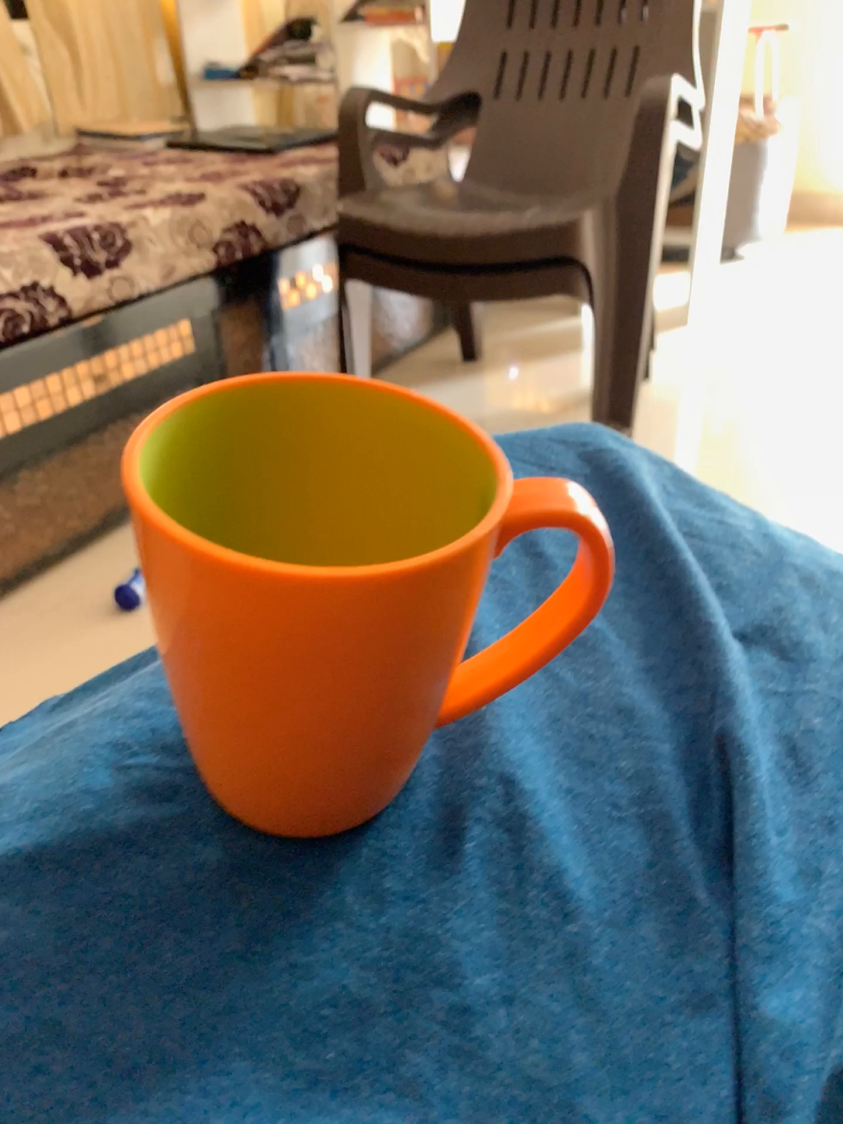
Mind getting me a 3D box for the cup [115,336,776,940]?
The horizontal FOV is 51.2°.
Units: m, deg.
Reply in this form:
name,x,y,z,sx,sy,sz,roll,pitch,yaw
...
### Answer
name,x,y,z,sx,sy,sz,roll,pitch,yaw
cup,-0.009,0.013,0.215,0.120,0.089,0.101,-1,42,-18
